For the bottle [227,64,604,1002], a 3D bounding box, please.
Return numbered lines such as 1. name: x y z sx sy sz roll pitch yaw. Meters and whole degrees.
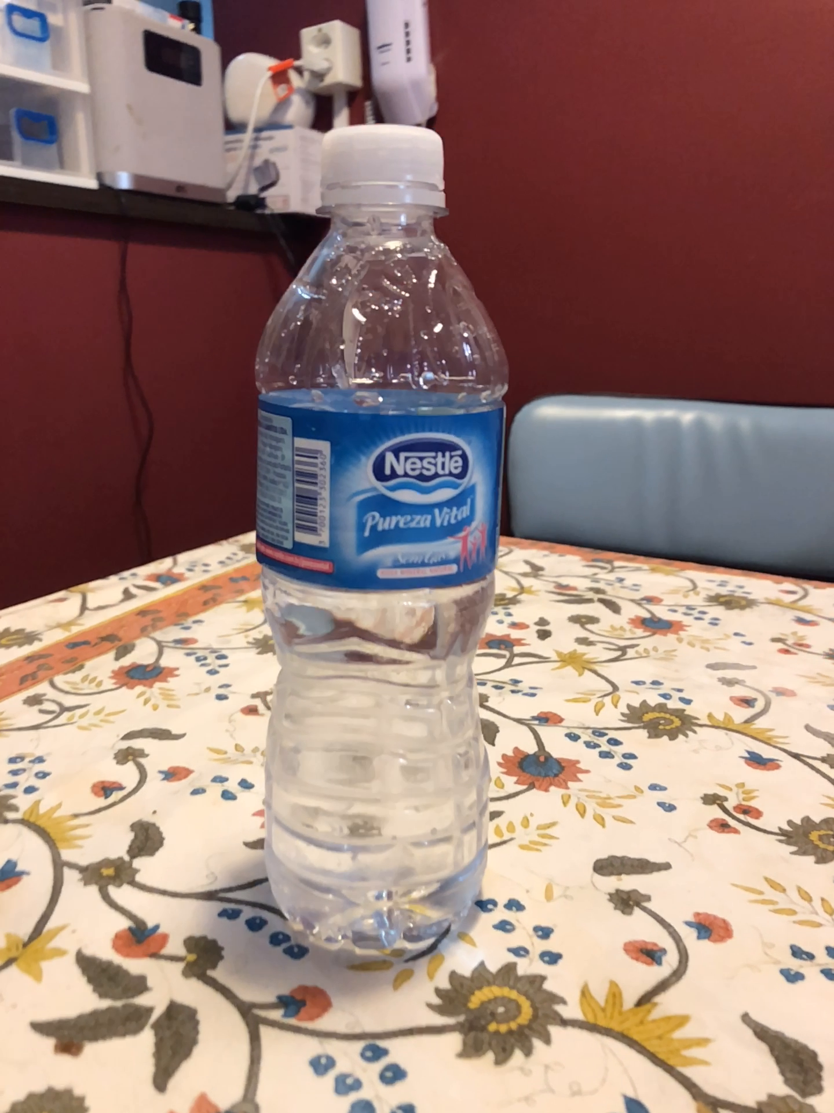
1. bottle: -0.004 -0.005 0.226 0.060 0.189 0.070 -6 15 -23
